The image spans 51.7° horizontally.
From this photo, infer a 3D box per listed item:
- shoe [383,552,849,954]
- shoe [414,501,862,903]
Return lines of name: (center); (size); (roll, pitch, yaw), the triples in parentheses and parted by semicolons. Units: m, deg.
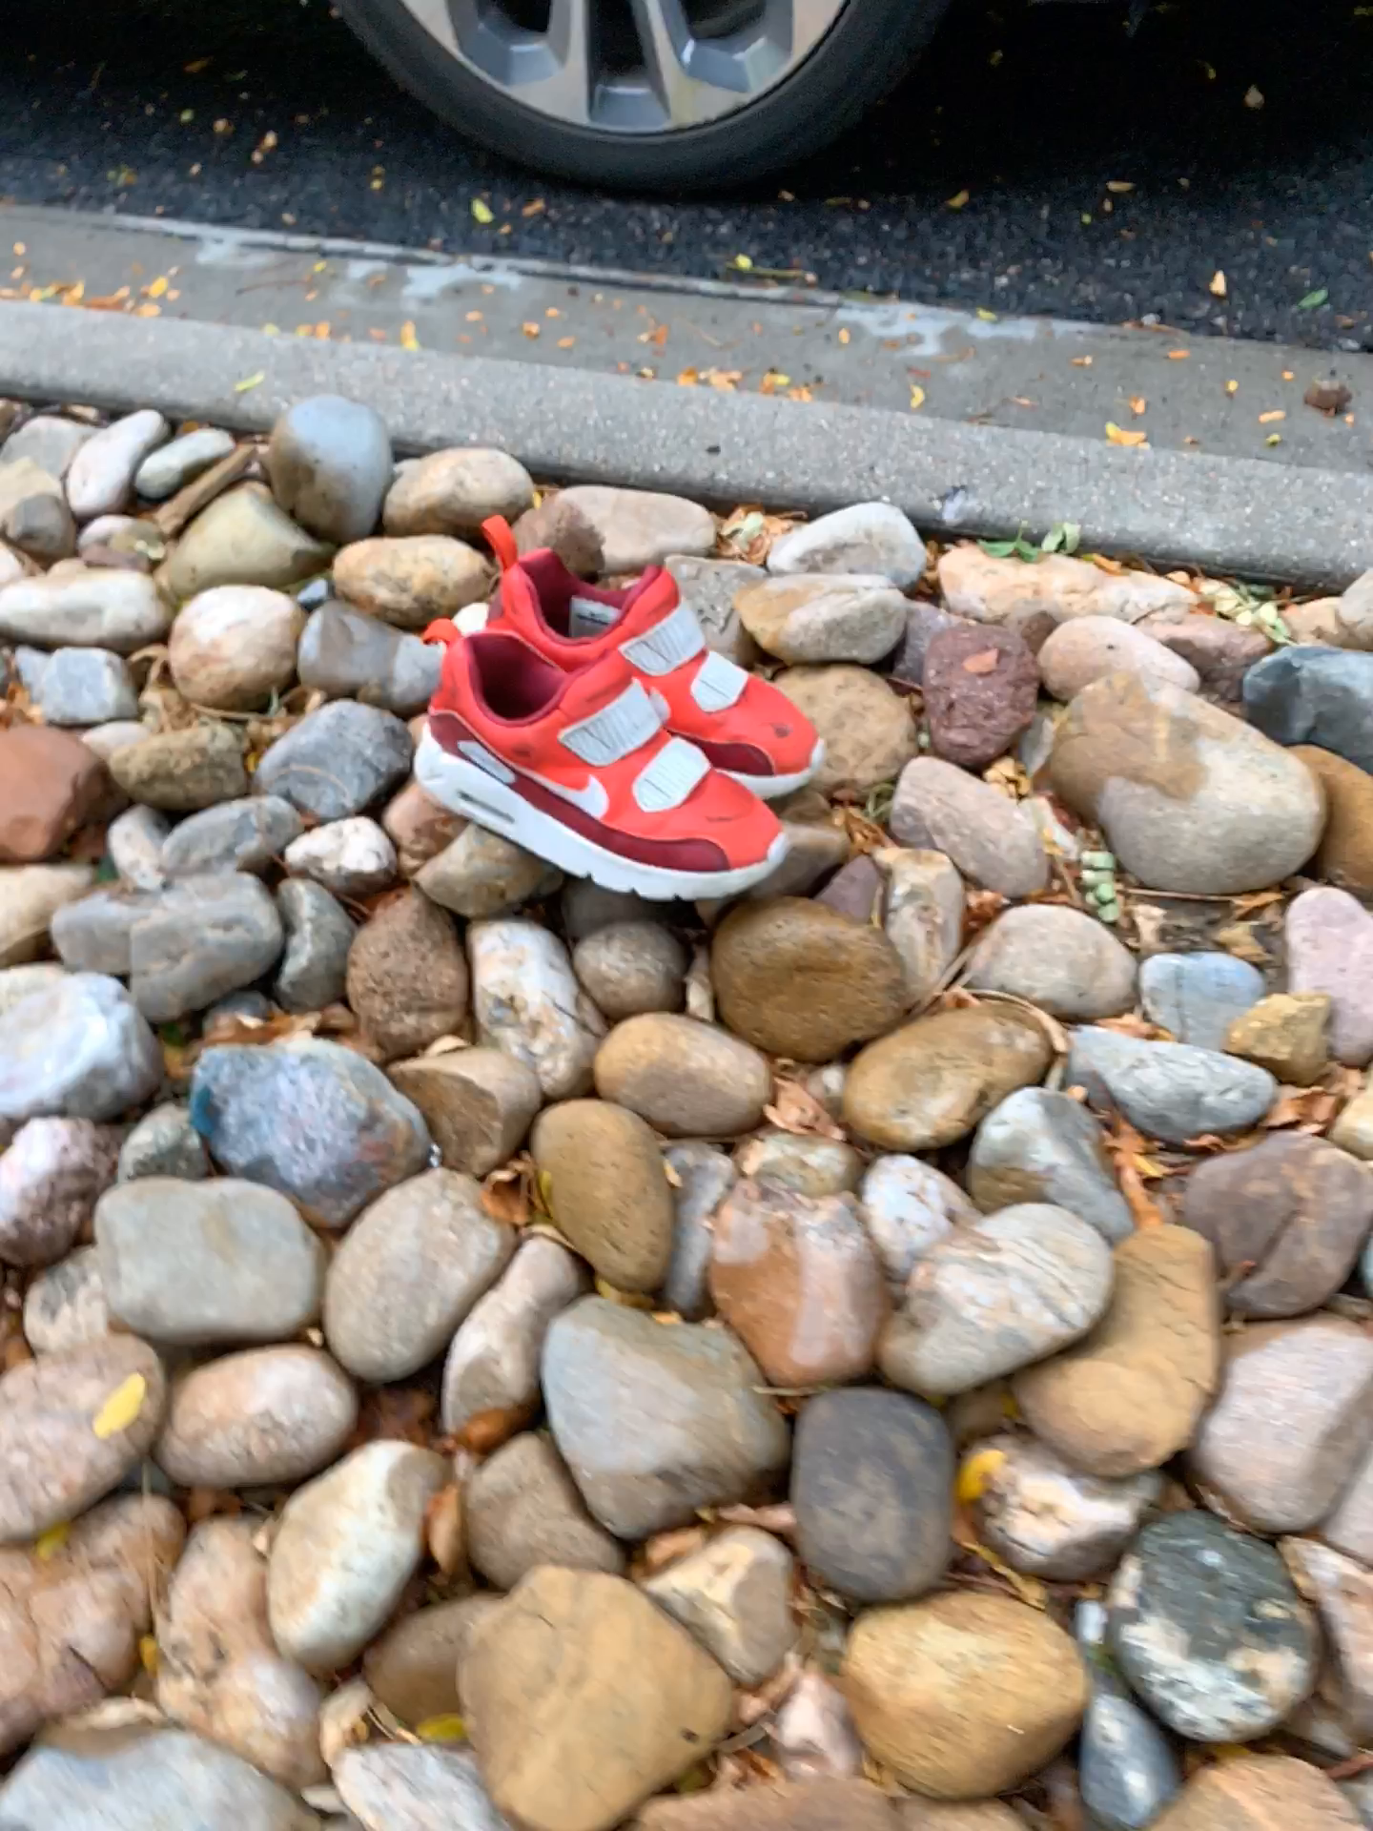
shoe: (-0.040, -0.084, 0.728); (0.210, 0.100, 0.080); (26, 48, 6)
shoe: (-0.028, -0.115, 0.772); (0.210, 0.100, 0.080); (31, 48, 1)
